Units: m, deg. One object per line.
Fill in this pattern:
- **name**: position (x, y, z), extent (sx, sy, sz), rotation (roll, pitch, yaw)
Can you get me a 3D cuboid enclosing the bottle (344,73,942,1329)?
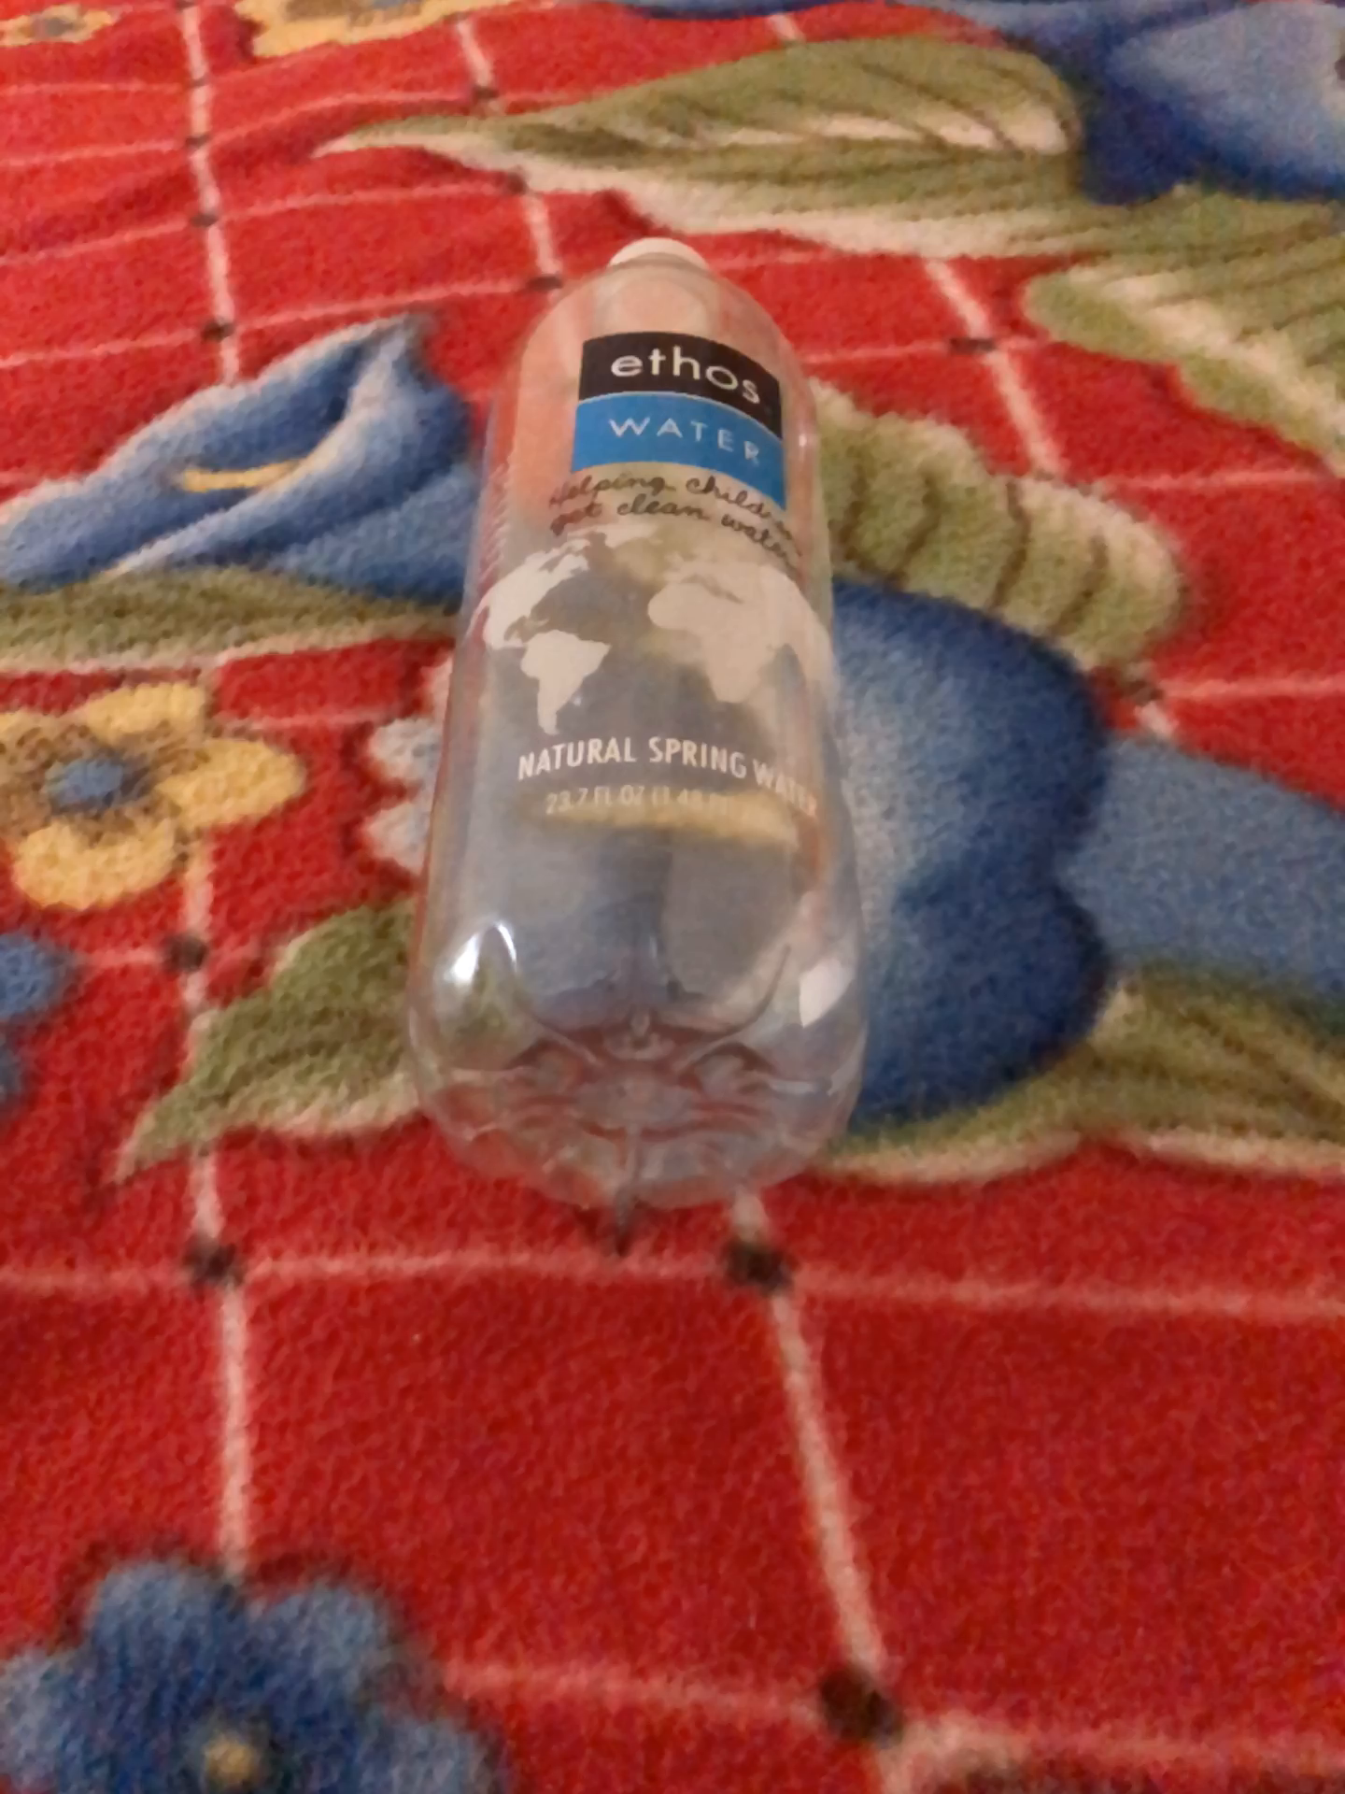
- **bottle**: position (-0.008, -0.052, 0.278), extent (0.070, 0.070, 0.240), rotation (7, 53, -10)
